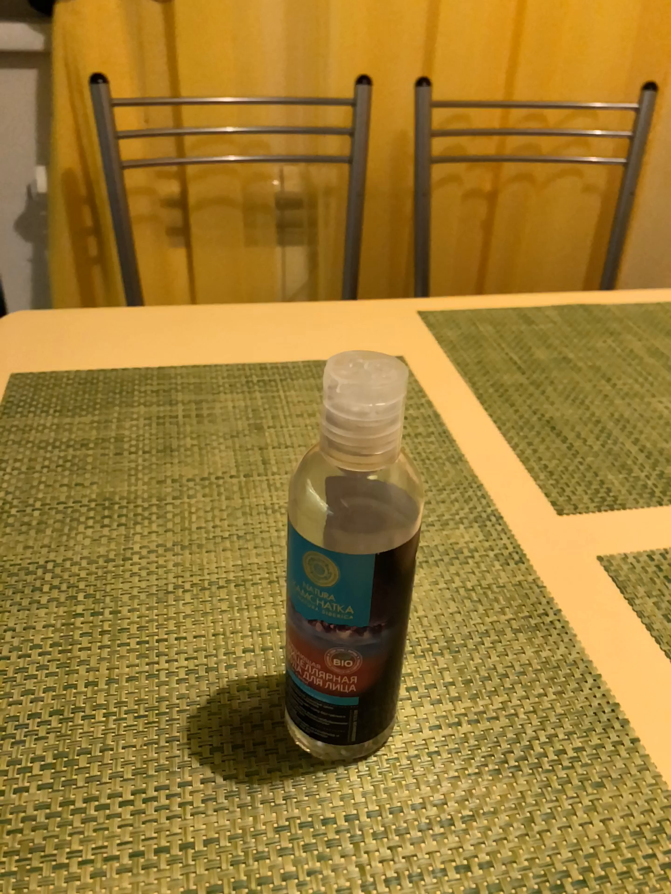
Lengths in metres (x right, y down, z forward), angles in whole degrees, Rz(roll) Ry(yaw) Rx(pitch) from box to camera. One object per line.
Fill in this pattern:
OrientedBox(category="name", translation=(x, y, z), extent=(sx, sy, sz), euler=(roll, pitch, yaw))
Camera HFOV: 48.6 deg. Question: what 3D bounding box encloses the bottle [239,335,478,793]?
OrientedBox(category="bottle", translation=(0.005, 0.045, 0.263), extent=(0.051, 0.149, 0.054), euler=(2, 33, -2))
